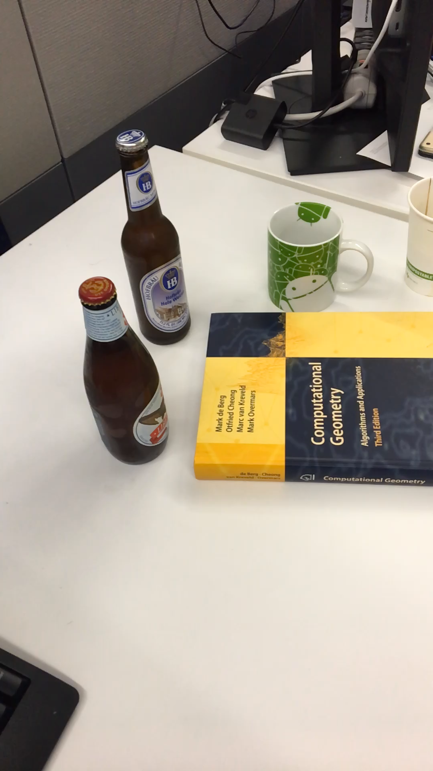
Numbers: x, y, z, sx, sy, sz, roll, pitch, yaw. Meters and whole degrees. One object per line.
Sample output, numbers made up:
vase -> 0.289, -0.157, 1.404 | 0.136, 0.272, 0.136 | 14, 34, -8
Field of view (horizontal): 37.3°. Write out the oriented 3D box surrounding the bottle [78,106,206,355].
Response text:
bottle -> -0.064, -0.139, 0.617 | 0.060, 0.220, 0.070 | -35, 55, -24

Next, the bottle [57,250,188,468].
bottle -> -0.068, -0.014, 0.525 | 0.070, 0.180, 0.070 | -2, 48, 3
